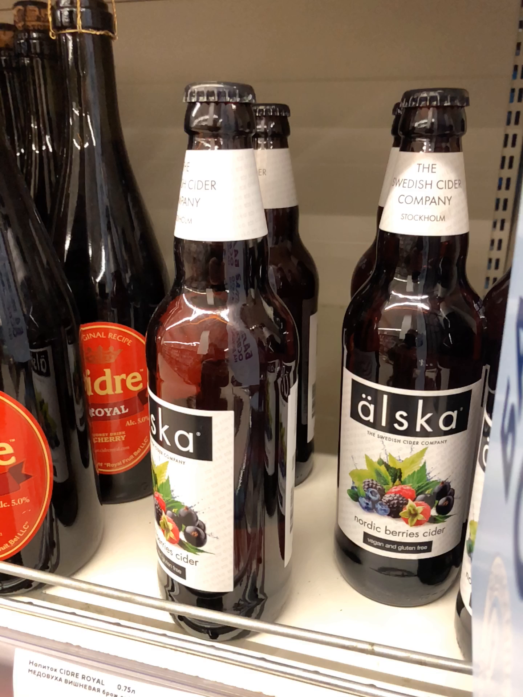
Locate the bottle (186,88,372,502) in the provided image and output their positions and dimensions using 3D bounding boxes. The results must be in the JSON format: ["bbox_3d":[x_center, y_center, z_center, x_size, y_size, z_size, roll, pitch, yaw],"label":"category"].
[{"bbox_3d":[0.009,-0.034,0.371,0.076,0.235,0.075,0,20,0],"label":"bottle"}]

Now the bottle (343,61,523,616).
[{"bbox_3d":[0.080,0.003,0.276,0.070,0.244,0.063,3,20,9],"label":"bottle"}]

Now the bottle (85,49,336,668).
[{"bbox_3d":[-0.020,0.008,0.245,0.063,0.229,0.070,-13,23,-32],"label":"bottle"}]
